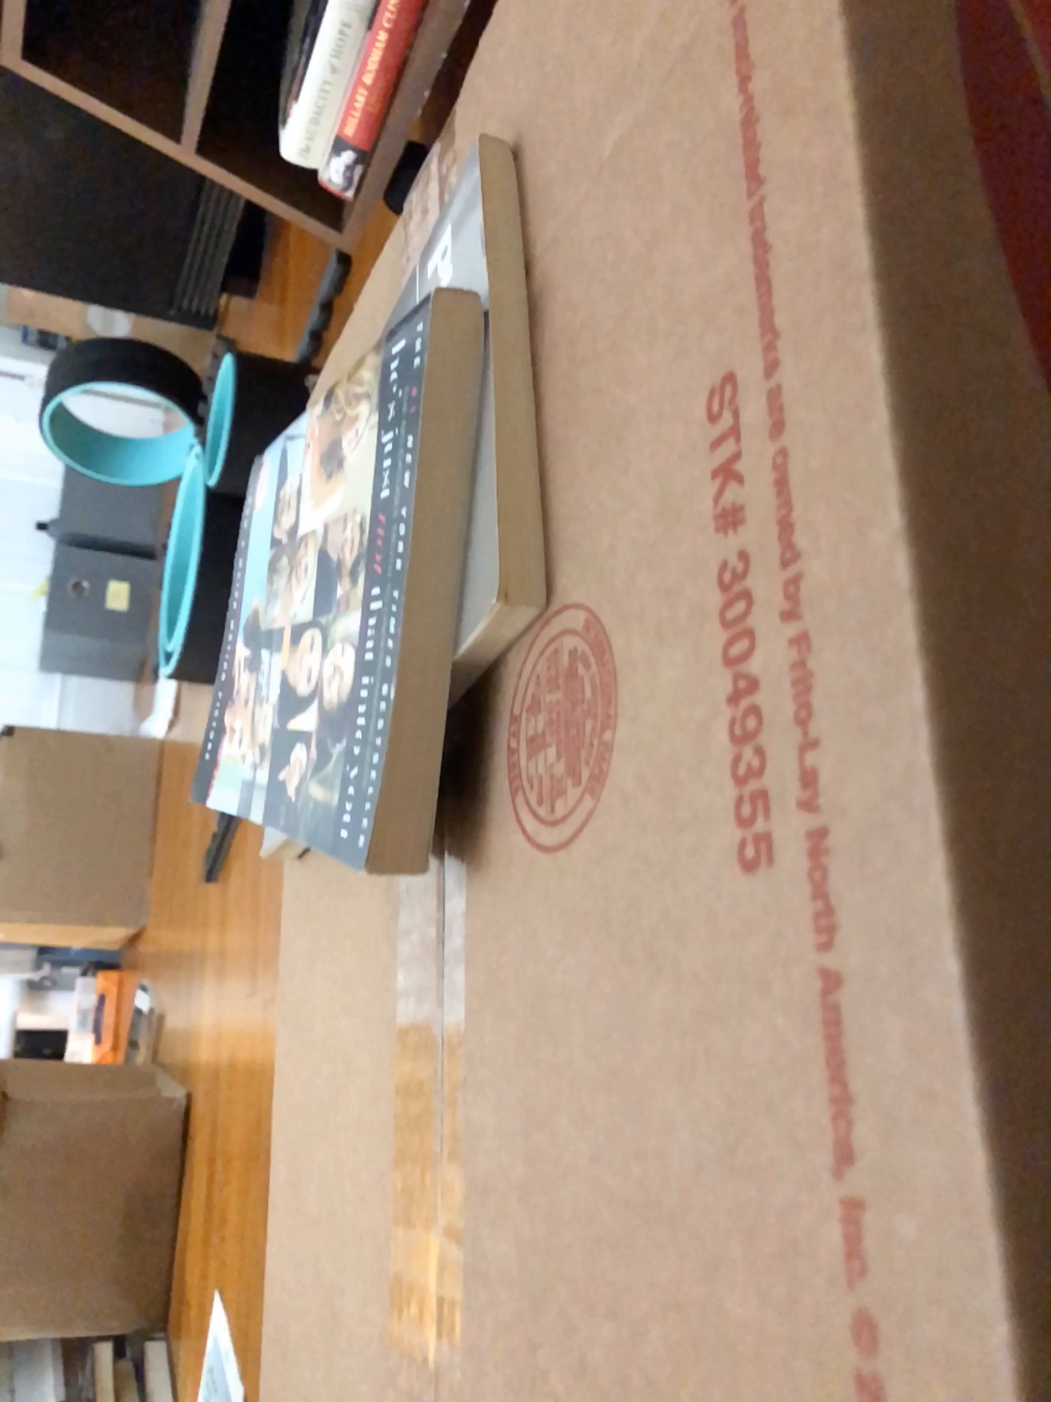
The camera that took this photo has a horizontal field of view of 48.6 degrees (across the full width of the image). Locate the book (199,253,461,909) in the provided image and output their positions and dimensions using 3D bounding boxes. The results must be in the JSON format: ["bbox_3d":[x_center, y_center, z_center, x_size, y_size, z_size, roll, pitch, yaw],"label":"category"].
[{"bbox_3d":[-0.073,-0.026,0.371,0.231,0.010,0.150,178,99,-67],"label":"book"}]
